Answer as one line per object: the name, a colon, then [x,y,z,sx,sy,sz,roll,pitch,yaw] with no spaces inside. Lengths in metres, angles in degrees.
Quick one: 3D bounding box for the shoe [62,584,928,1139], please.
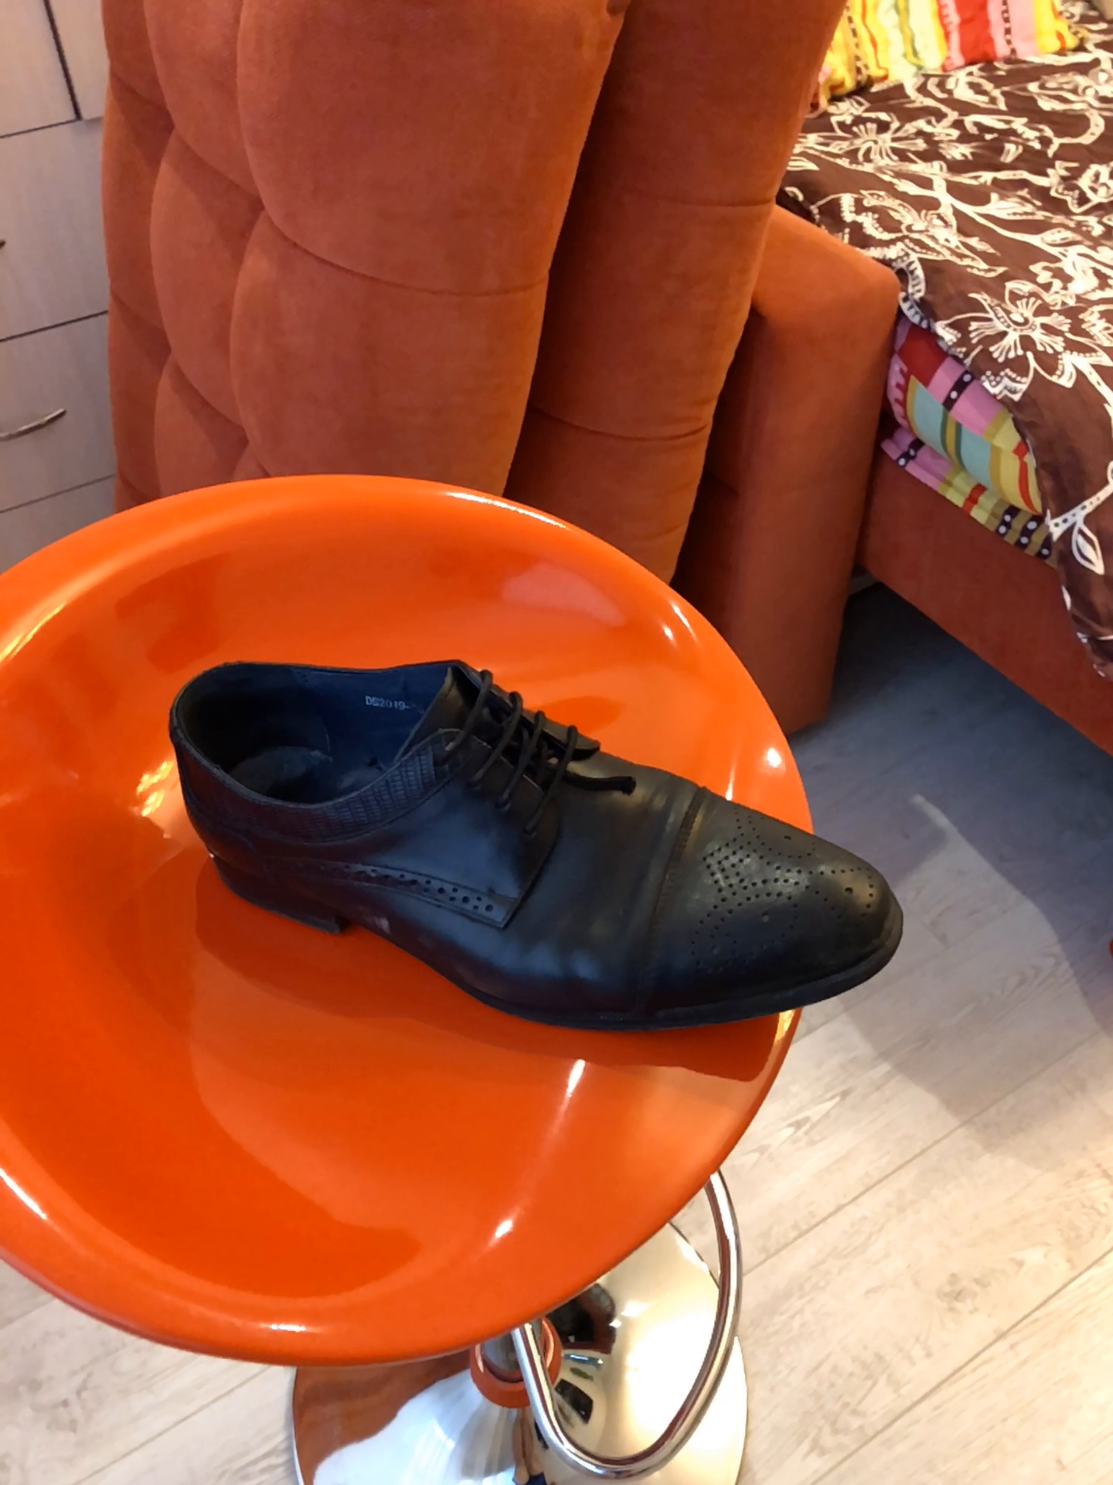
shoe: [-0.023,0.035,0.482,0.300,0.079,0.121,14,48,17]
